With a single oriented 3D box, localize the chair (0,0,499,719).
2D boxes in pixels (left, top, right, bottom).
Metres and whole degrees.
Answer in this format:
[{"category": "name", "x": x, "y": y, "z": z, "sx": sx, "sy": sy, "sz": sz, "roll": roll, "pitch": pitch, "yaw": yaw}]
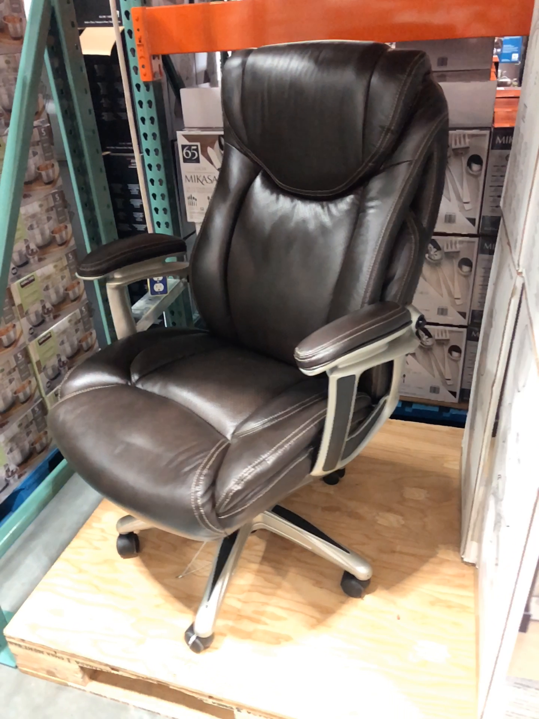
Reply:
[{"category": "chair", "x": -0.061, "y": -0.080, "z": 1.198, "sx": 0.662, "sy": 1.095, "sz": 0.722, "roll": 17, "pitch": 36, "yaw": 33}]
